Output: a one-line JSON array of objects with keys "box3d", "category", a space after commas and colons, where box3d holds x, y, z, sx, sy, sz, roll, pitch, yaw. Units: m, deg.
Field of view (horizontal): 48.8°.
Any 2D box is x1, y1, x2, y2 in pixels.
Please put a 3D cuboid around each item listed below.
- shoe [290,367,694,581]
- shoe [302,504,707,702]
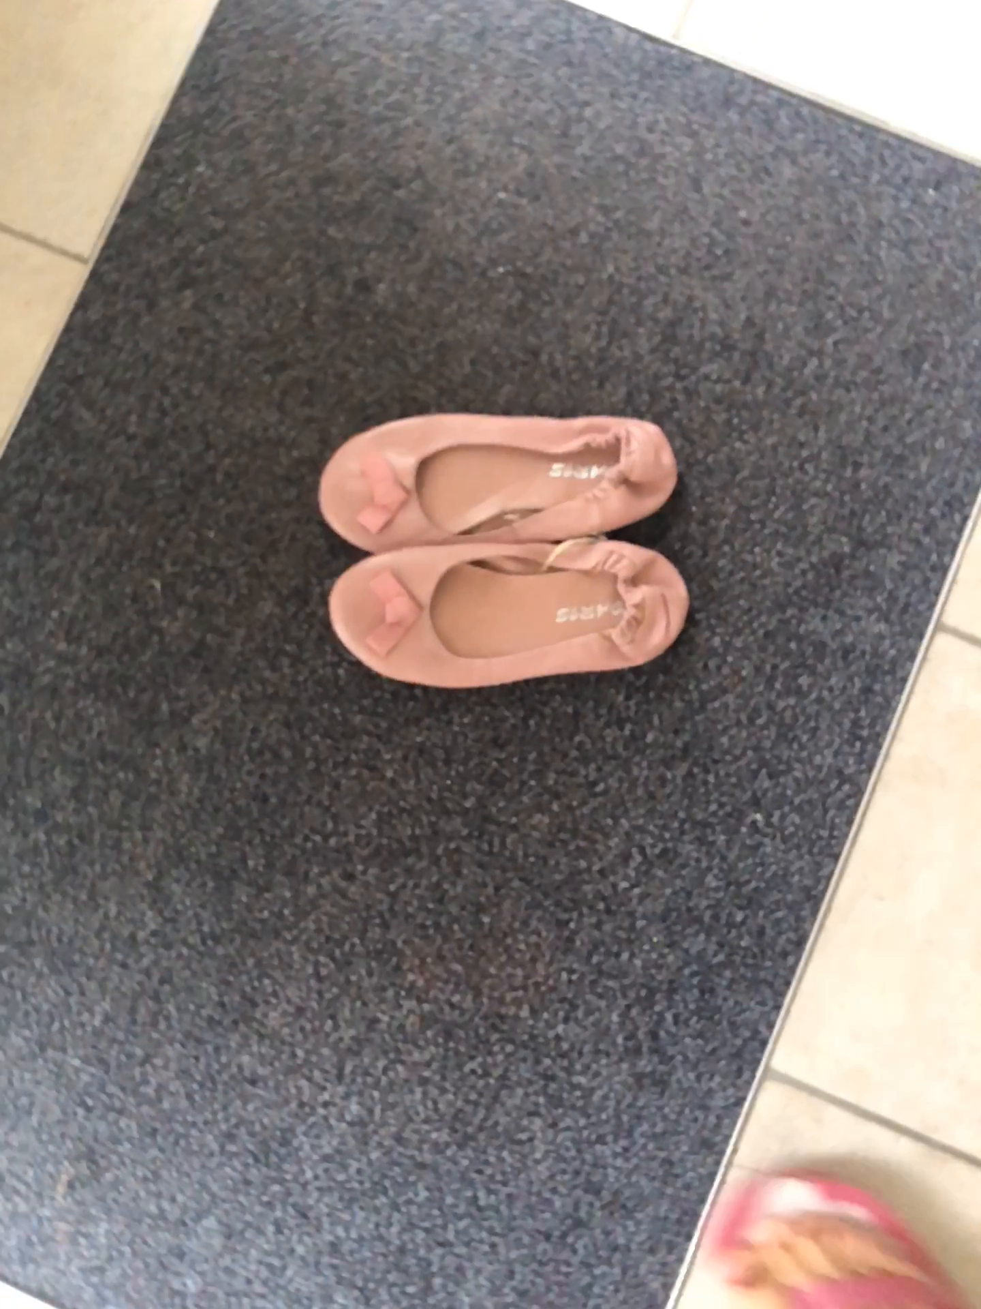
[{"box3d": [0.000, -0.110, 0.684, 0.230, 0.100, 0.090, -5, 84, 0], "category": "shoe"}, {"box3d": [0.008, -0.028, 0.682, 0.230, 0.100, 0.090, -5, 84, 0], "category": "shoe"}]
